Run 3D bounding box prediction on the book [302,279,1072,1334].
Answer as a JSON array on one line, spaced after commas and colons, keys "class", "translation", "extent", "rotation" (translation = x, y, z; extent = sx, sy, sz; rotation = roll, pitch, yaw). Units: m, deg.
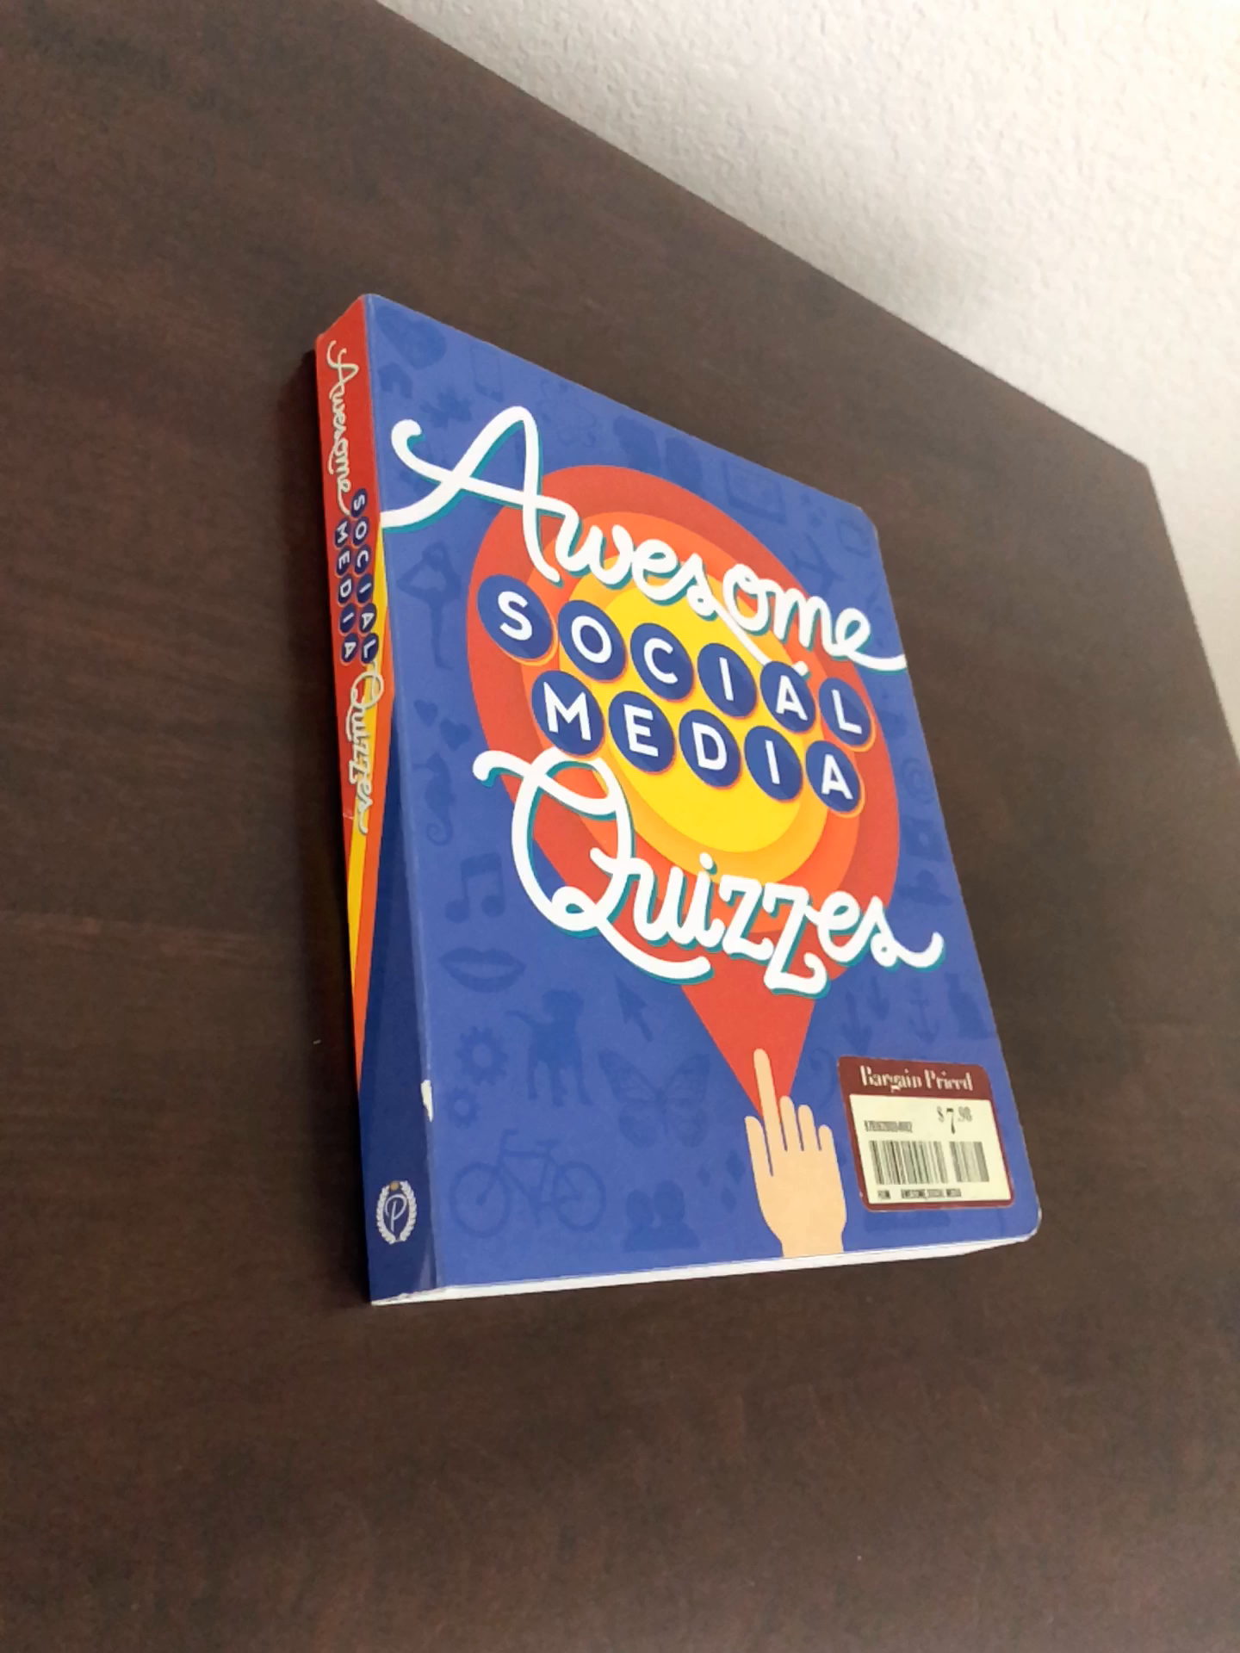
[{"class": "book", "translation": [0.018, -0.003, 0.304], "extent": [0.173, 0.020, 0.201], "rotation": [11, 61, -39]}]
